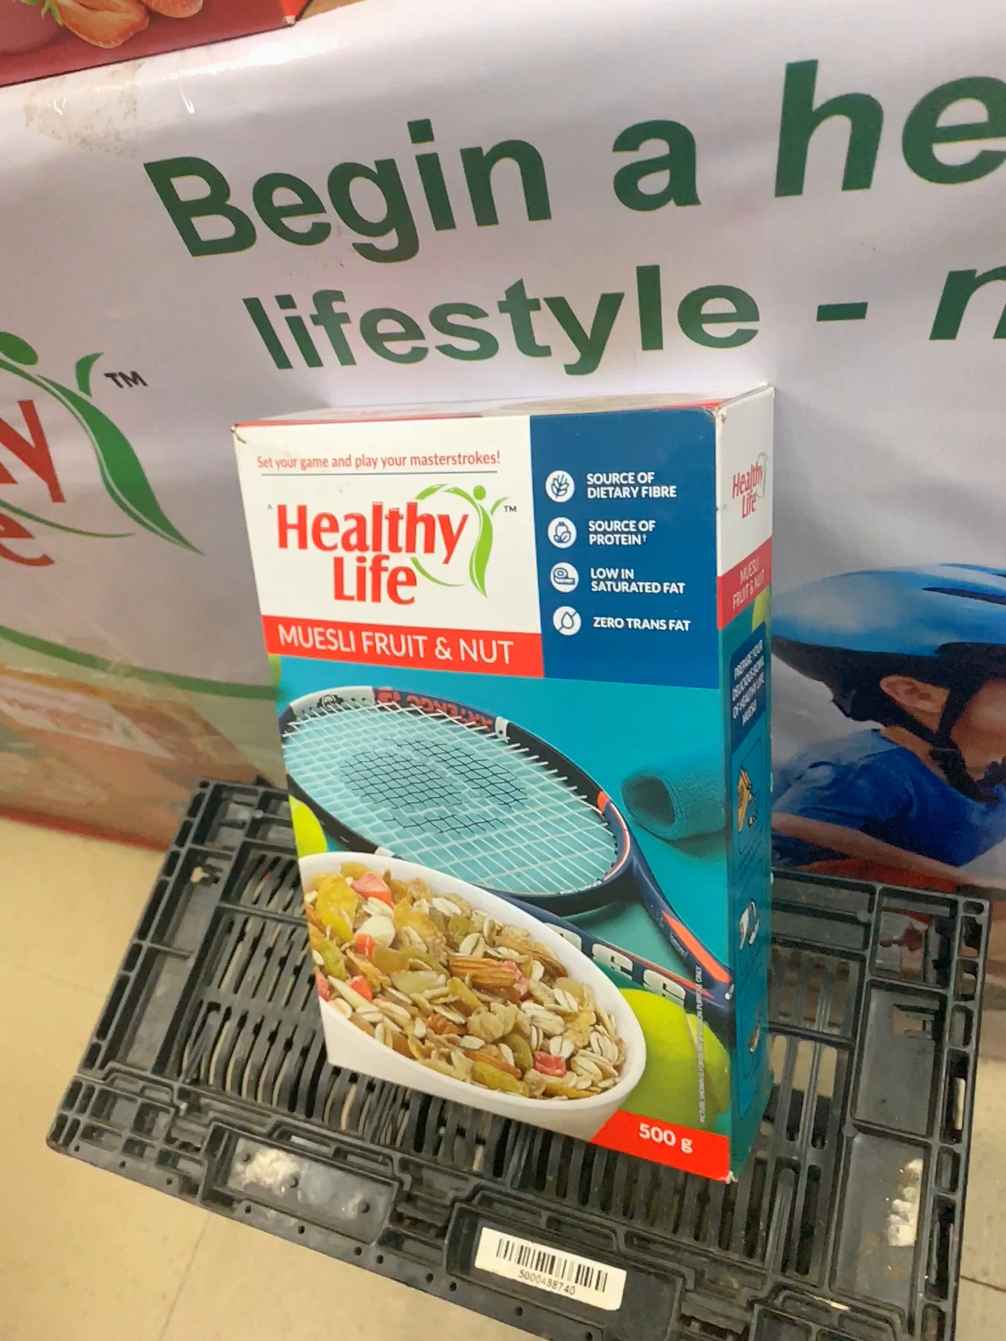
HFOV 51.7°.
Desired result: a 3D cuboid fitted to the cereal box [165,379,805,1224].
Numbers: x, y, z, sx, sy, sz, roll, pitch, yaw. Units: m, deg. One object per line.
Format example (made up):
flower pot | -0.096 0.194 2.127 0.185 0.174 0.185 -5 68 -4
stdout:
cereal box | -0.001 0.036 0.360 0.191 0.250 0.070 5 19 28
